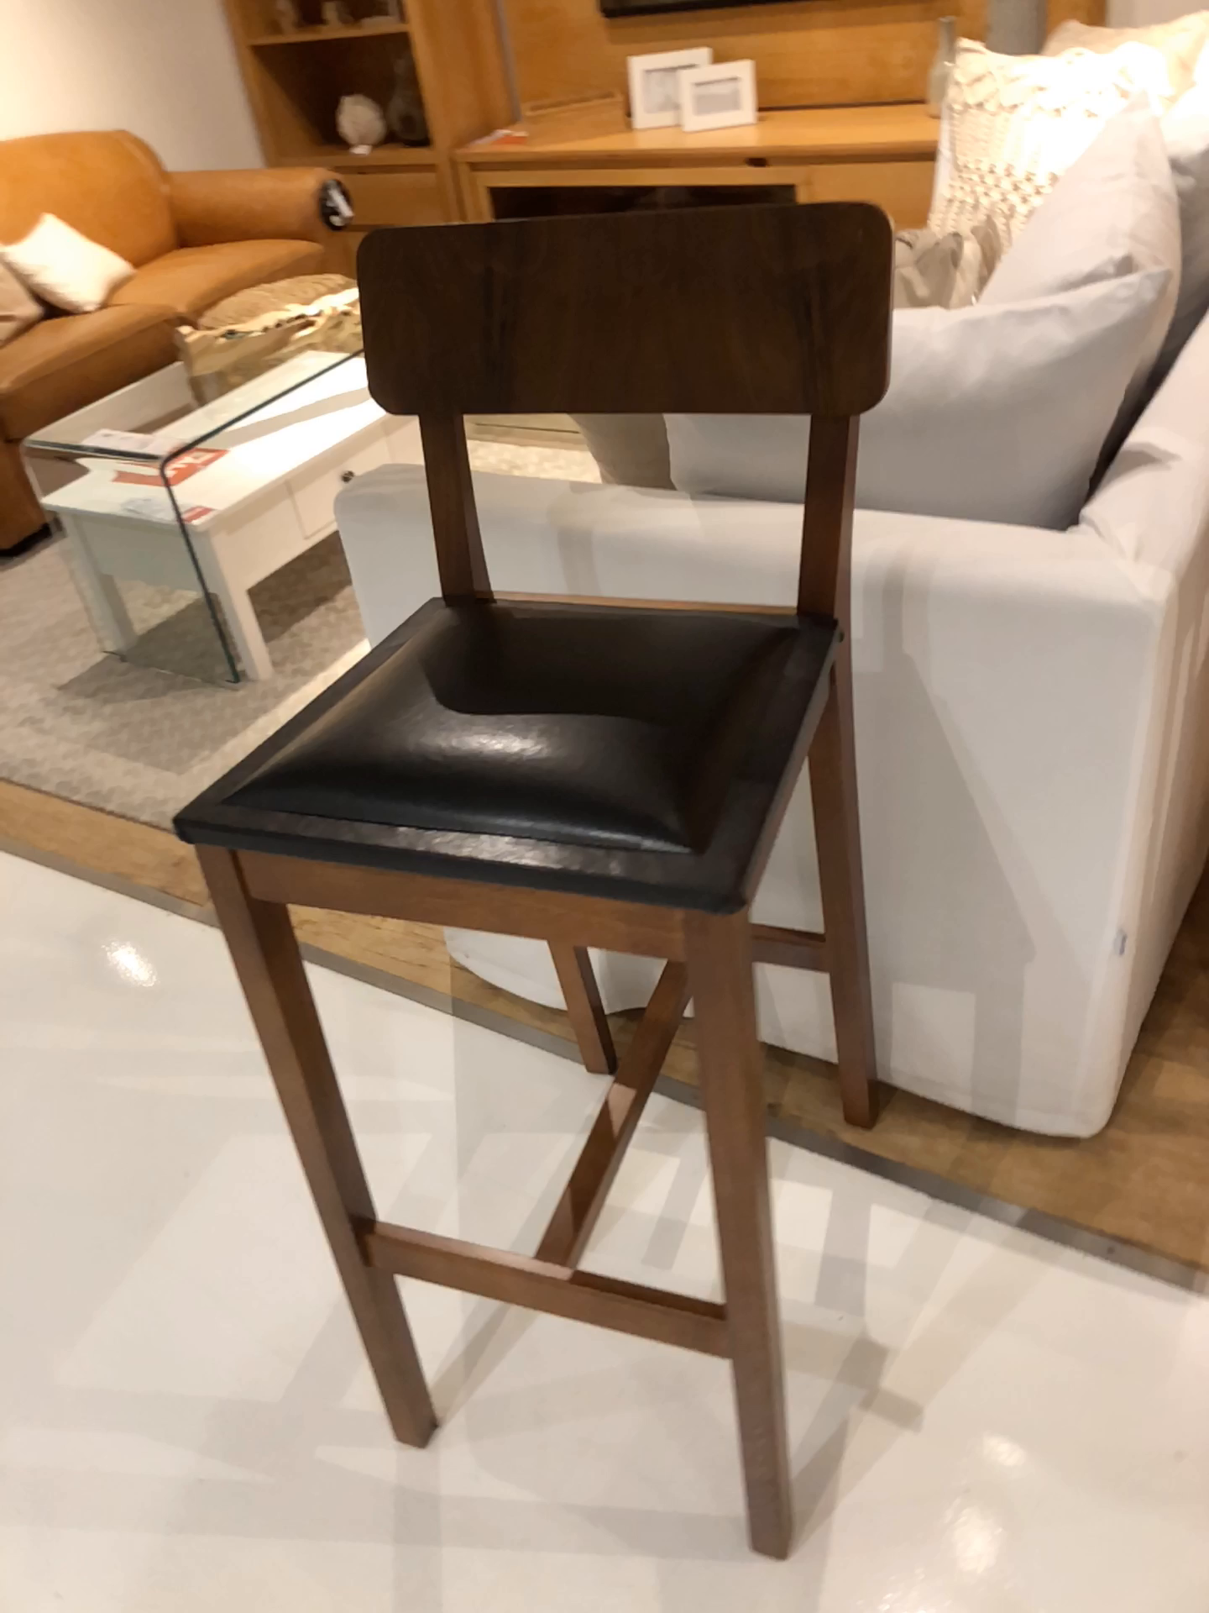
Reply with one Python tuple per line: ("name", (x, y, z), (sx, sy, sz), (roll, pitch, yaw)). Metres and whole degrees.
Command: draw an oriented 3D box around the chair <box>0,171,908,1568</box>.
("chair", (-0.014, 0.079, 1.136), (0.441, 1.002, 0.534), (6, 38, 21))
